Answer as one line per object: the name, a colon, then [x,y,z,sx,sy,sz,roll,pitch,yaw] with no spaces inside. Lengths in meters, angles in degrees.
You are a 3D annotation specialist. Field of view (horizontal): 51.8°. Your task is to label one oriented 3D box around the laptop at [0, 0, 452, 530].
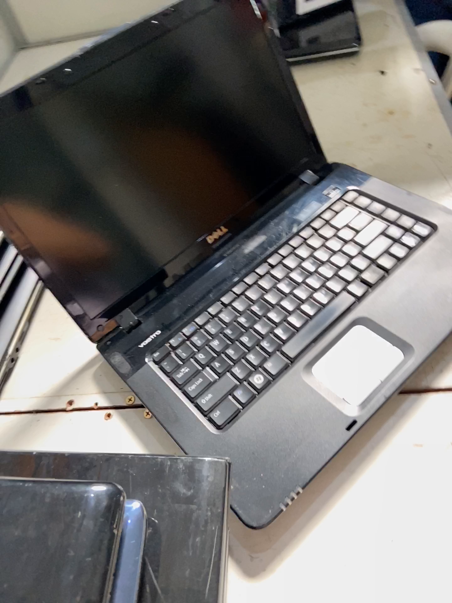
laptop: [0.024,-0.093,0.427,0.365,0.203,0.353,-39,52,-17]
